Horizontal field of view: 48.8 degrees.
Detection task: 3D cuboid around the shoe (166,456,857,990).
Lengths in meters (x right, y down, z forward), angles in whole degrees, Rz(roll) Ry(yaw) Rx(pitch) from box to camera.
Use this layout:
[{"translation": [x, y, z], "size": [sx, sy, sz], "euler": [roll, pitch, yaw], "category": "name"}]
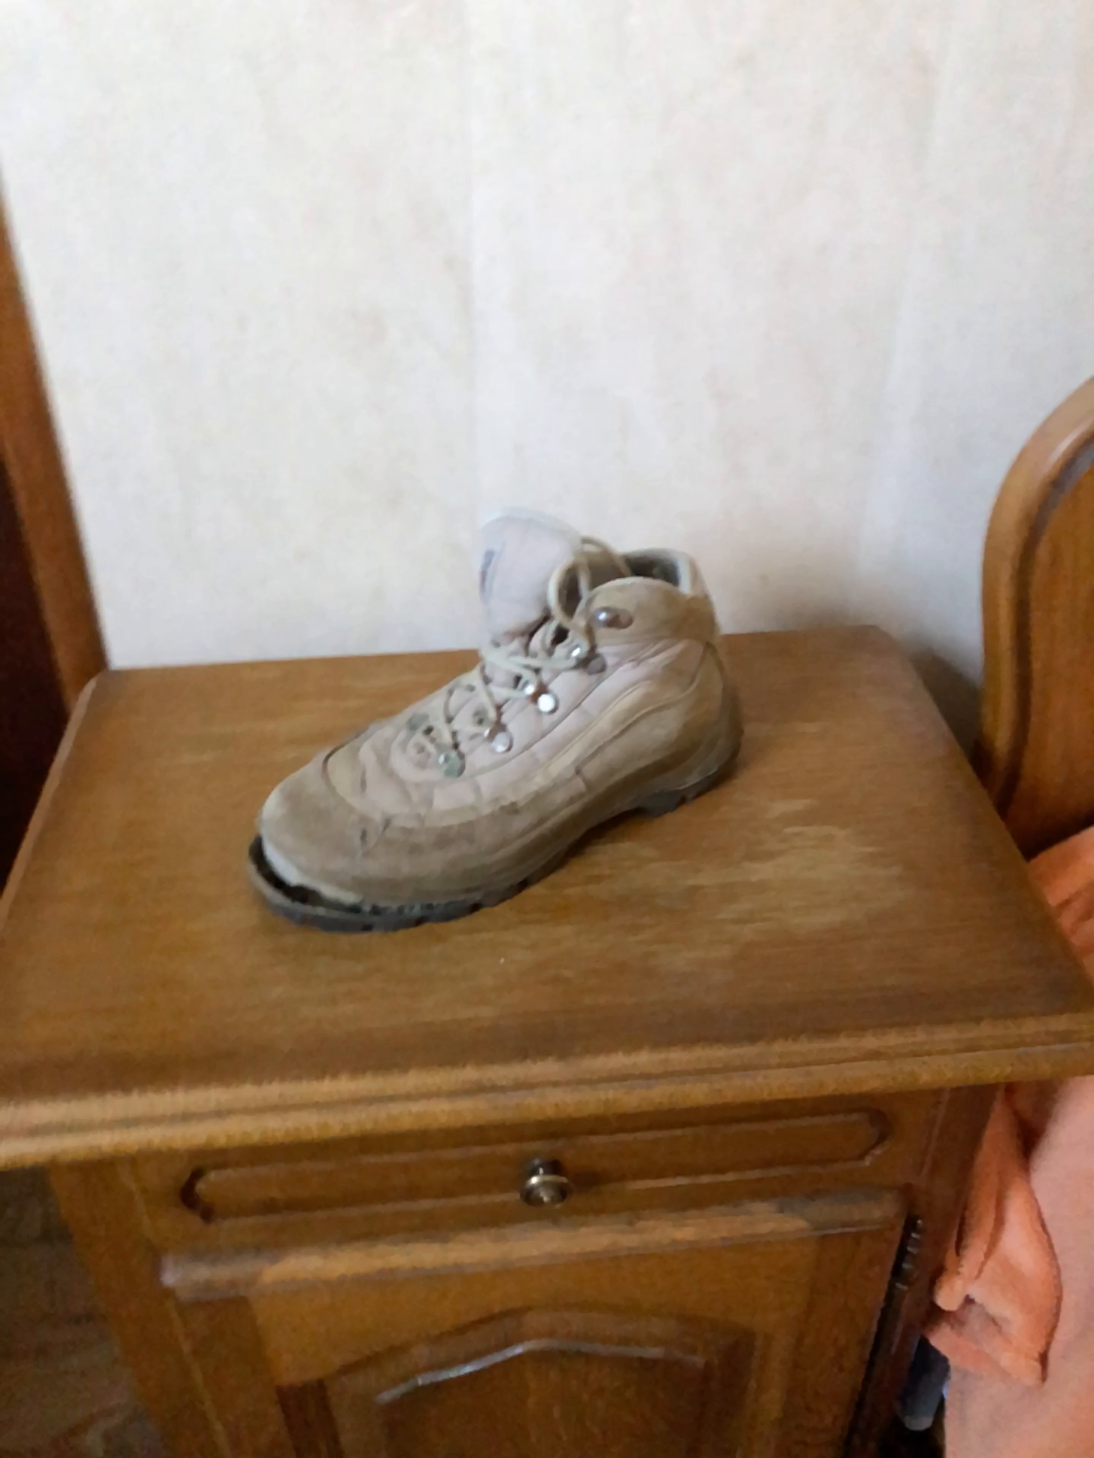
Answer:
[{"translation": [-0.012, -0.018, 0.593], "size": [0.291, 0.139, 0.130], "euler": [-18, 39, -25], "category": "shoe"}]
